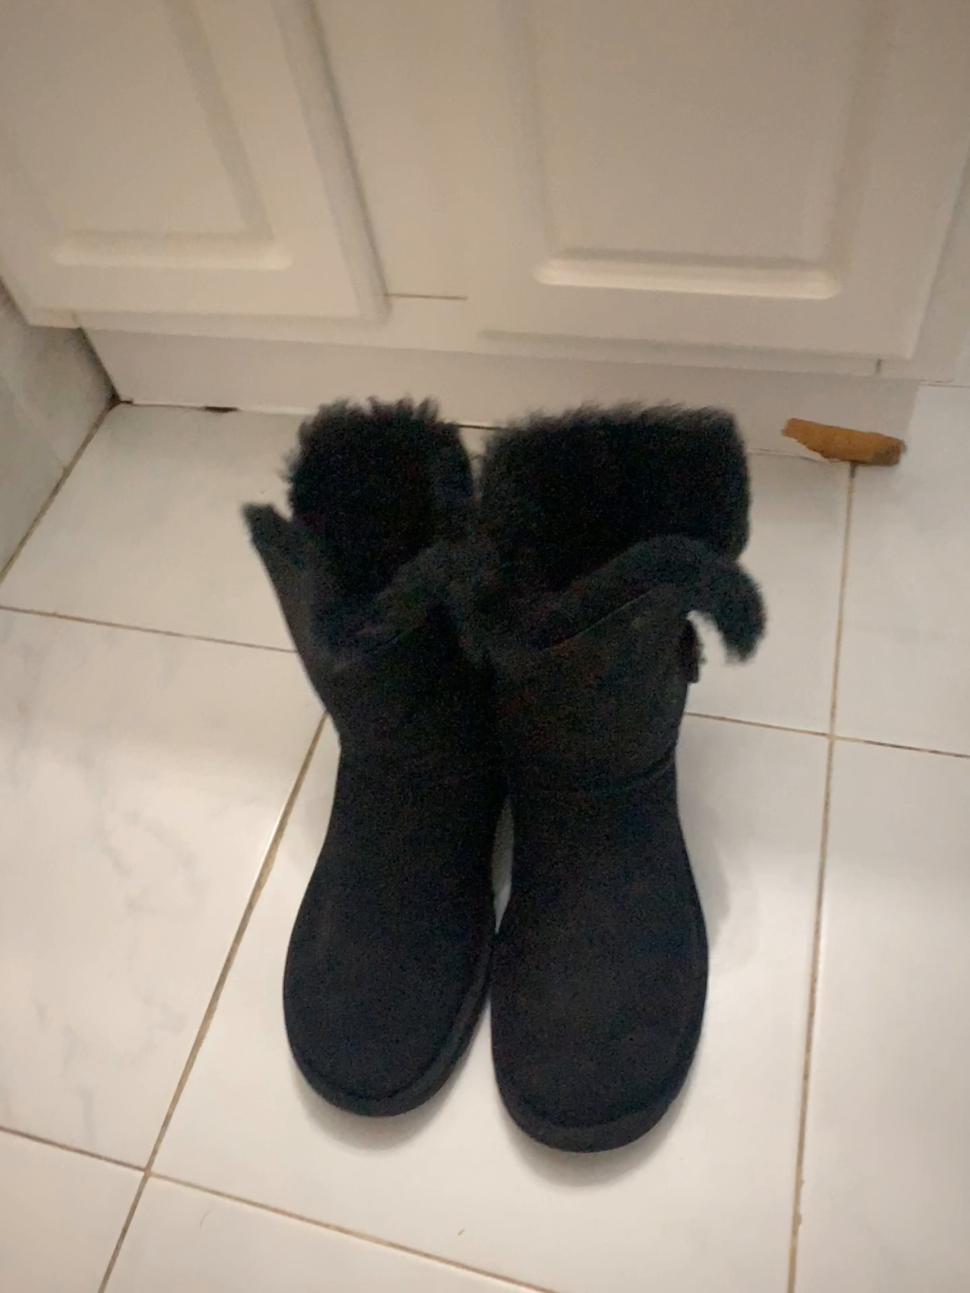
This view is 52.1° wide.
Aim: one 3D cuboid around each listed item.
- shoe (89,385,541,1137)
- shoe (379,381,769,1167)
[{"bbox_3d":[-0.045,0.049,0.454,0.120,0.169,0.291,-1,56,8],"label":"shoe"},{"bbox_3d":[0.050,0.055,0.435,0.110,0.189,0.281,1,57,9],"label":"shoe"}]
